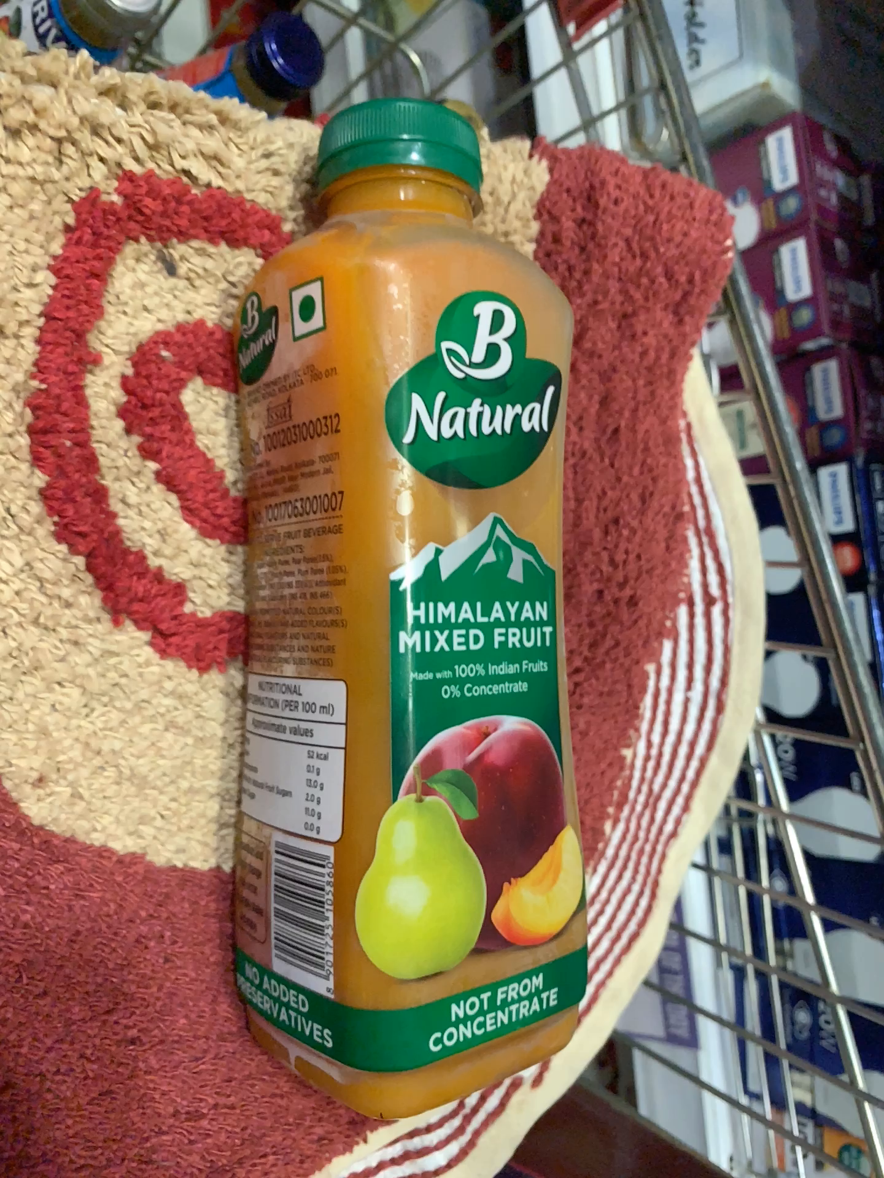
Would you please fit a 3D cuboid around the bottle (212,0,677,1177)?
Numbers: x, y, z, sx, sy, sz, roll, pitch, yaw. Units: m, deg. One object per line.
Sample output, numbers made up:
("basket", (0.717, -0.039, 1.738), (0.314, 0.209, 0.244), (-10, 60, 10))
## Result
("bottle", (-0.003, -0.008, 0.219), (0.070, 0.070, 0.230), (1, 83, -40))
